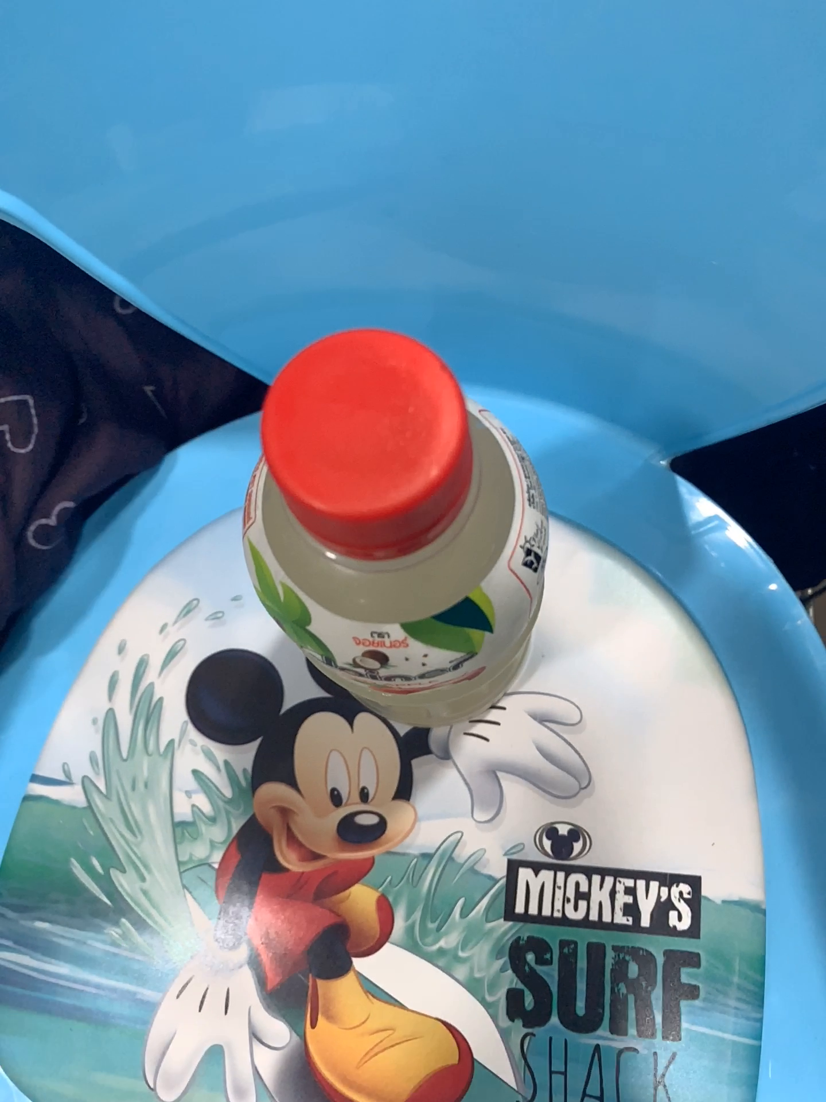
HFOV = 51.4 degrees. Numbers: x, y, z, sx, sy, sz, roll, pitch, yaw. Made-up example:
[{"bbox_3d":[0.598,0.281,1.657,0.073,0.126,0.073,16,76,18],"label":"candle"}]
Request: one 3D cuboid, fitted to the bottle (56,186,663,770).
[{"bbox_3d":[0.001,0.004,0.181,0.070,0.150,0.060,6,71,8],"label":"bottle"}]
